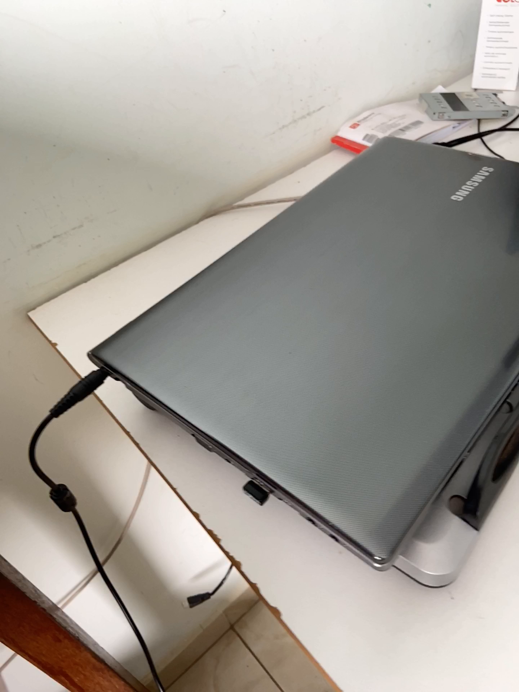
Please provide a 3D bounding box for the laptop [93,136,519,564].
[{"bbox_3d":[0.094,-0.058,0.398,0.237,0.005,0.374,27,55,34],"label":"laptop"}]
